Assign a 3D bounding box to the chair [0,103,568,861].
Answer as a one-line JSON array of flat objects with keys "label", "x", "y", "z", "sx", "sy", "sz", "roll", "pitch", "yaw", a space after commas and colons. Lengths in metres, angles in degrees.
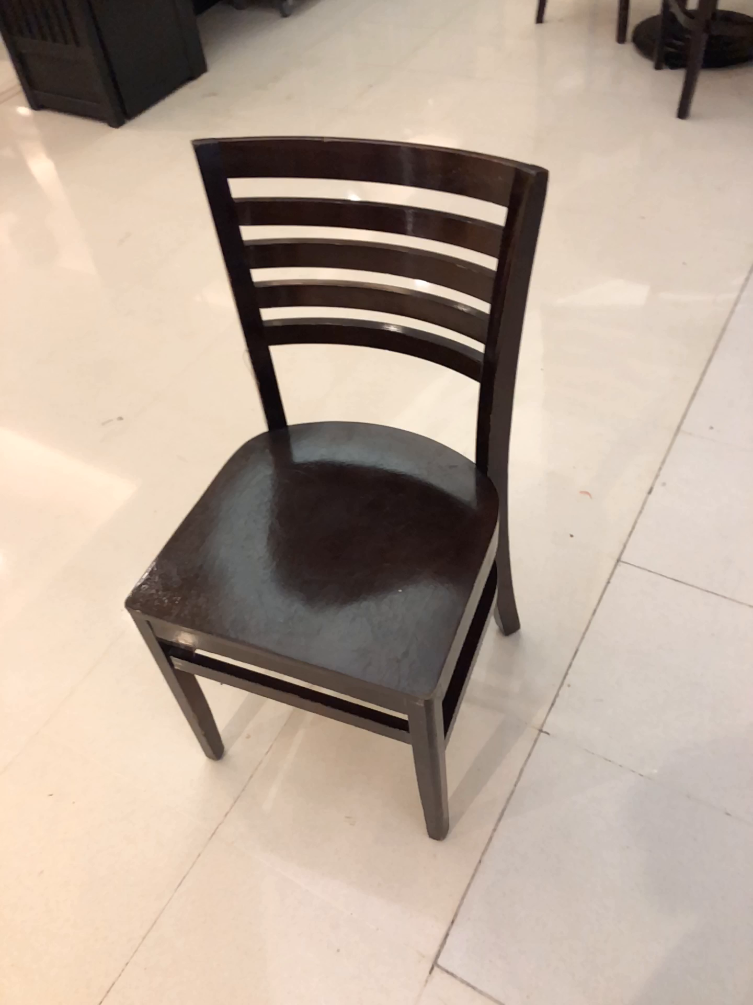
[{"label": "chair", "x": -0.058, "y": 0.006, "z": 1.152, "sx": 0.461, "sy": 0.844, "sz": 0.543, "roll": 14, "pitch": 52, "yaw": 19}]
